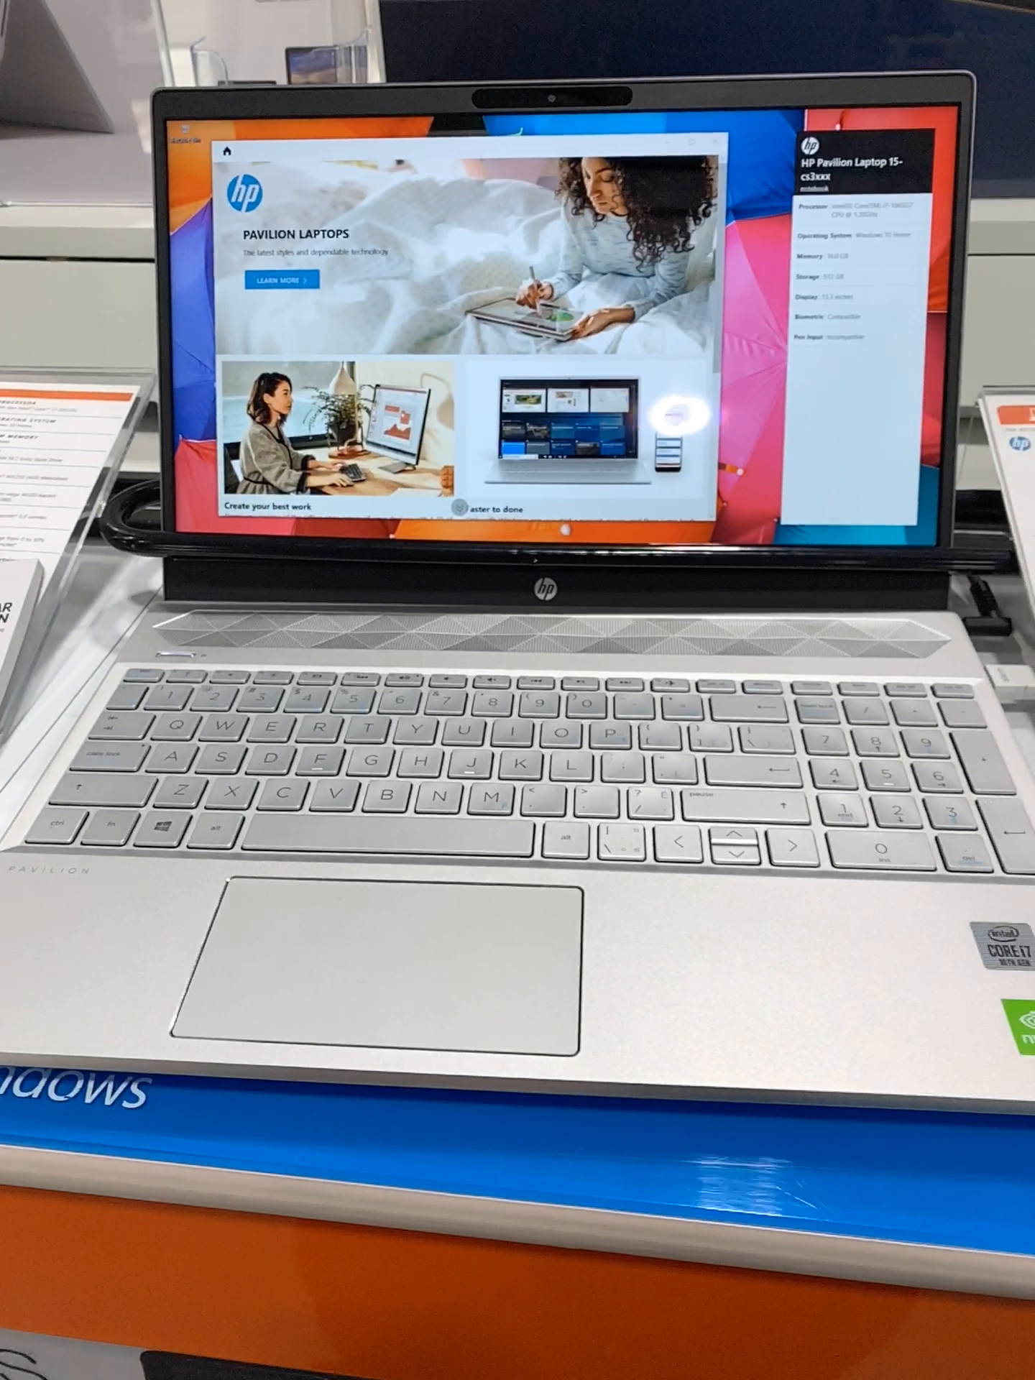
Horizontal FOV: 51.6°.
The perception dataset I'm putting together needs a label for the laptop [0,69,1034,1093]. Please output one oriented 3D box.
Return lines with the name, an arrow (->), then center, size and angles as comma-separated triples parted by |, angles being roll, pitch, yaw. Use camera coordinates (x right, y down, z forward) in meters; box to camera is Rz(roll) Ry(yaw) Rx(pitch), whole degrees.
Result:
laptop -> 0.007, -0.075, 0.352 | 0.332, 0.175, 0.335 | 1, 37, 4
